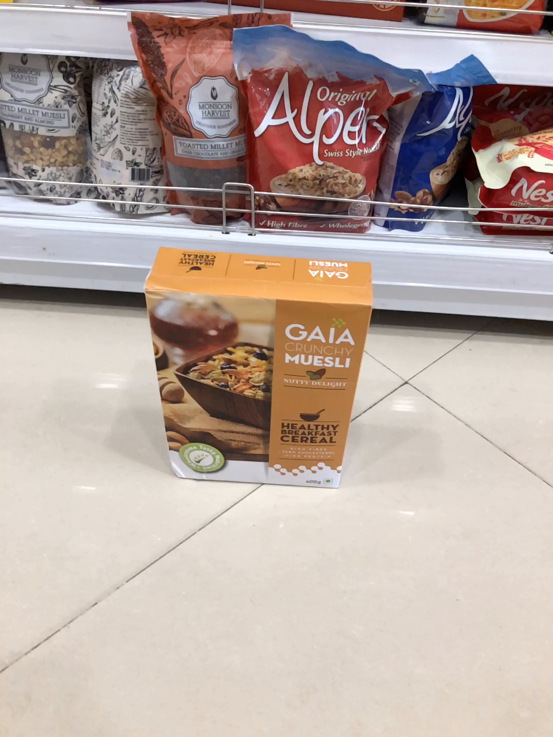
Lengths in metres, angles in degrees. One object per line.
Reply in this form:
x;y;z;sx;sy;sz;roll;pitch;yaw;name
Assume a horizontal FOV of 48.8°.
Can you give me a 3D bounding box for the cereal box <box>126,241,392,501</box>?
-0.014;0.015;0.543;0.190;0.248;0.060;4;45;2;cereal box
